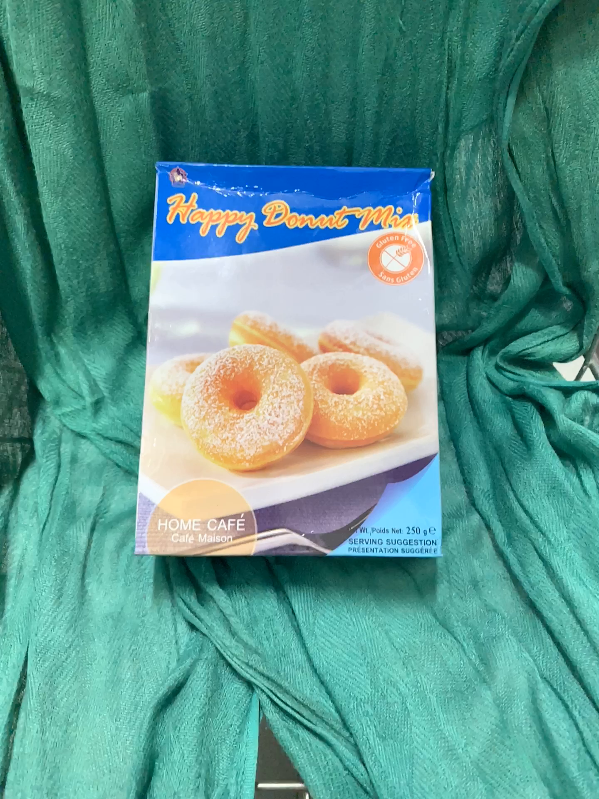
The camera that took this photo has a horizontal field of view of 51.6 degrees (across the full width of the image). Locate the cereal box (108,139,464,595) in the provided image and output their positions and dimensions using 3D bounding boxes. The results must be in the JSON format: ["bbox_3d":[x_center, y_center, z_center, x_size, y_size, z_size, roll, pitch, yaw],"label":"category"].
[{"bbox_3d":[-0.005,-0.012,0.272,0.130,0.060,0.180,1,80,-3],"label":"cereal box"}]
